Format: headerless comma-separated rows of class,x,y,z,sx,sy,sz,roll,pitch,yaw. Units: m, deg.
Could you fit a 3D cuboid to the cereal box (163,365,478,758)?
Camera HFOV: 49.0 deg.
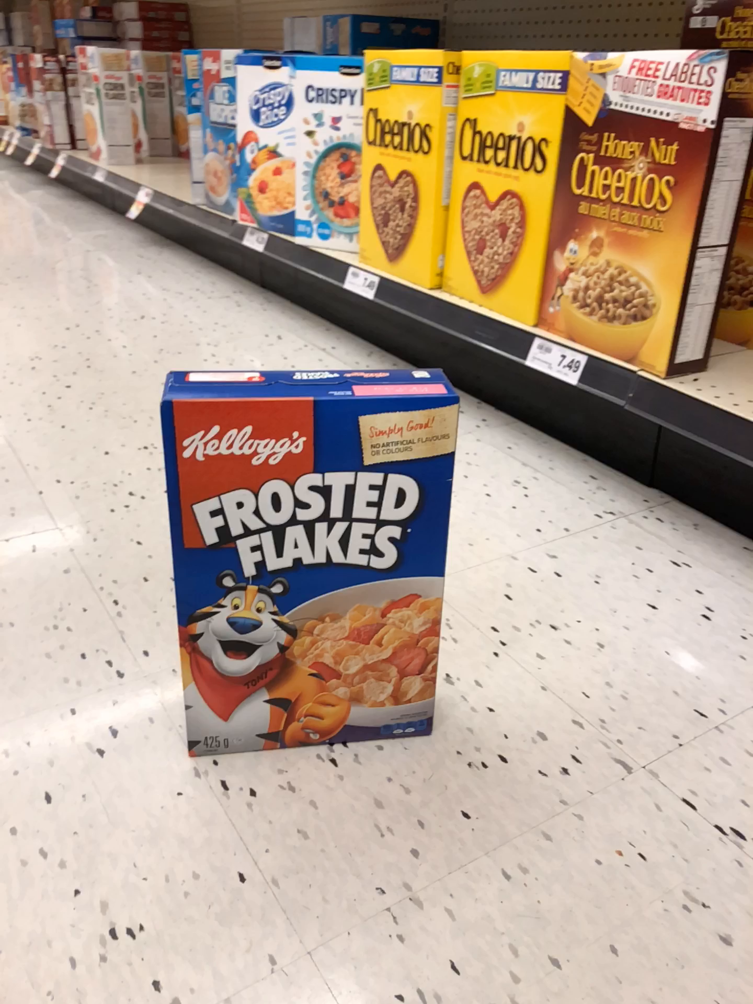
cereal box,-0.045,0.049,0.618,0.200,0.288,0.070,-2,27,-10
